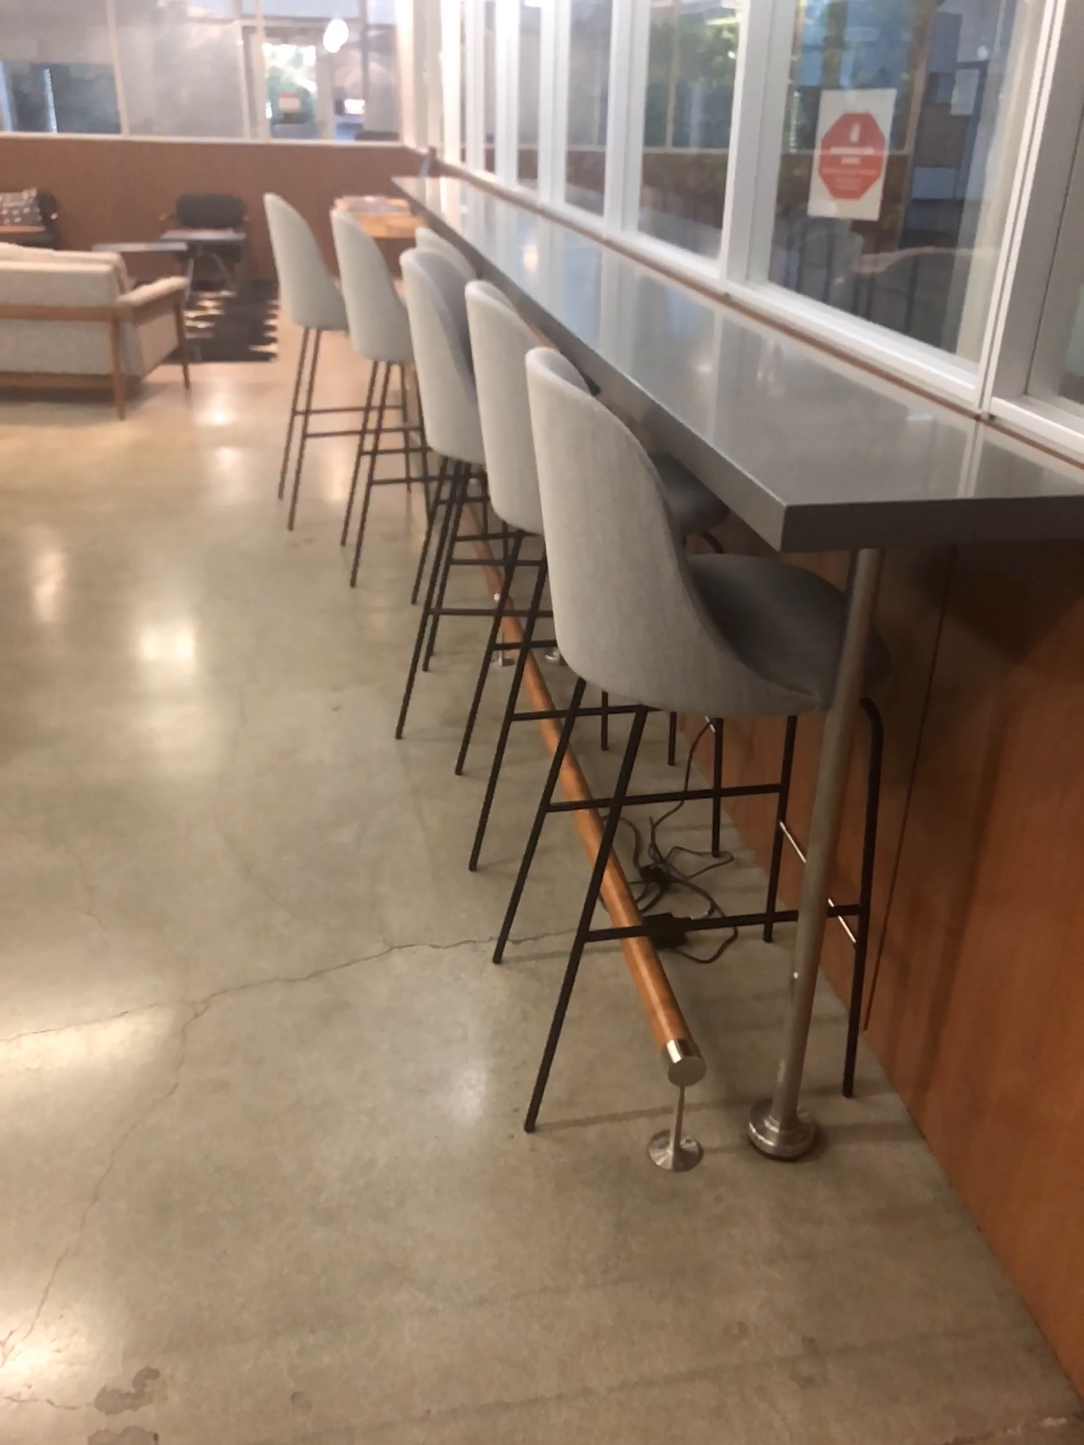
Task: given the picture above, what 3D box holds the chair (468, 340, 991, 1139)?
[{"bbox_3d":[0.190,-0.011,1.833,0.531,1.002,0.665,-3,27,-9],"label":"chair"}]
